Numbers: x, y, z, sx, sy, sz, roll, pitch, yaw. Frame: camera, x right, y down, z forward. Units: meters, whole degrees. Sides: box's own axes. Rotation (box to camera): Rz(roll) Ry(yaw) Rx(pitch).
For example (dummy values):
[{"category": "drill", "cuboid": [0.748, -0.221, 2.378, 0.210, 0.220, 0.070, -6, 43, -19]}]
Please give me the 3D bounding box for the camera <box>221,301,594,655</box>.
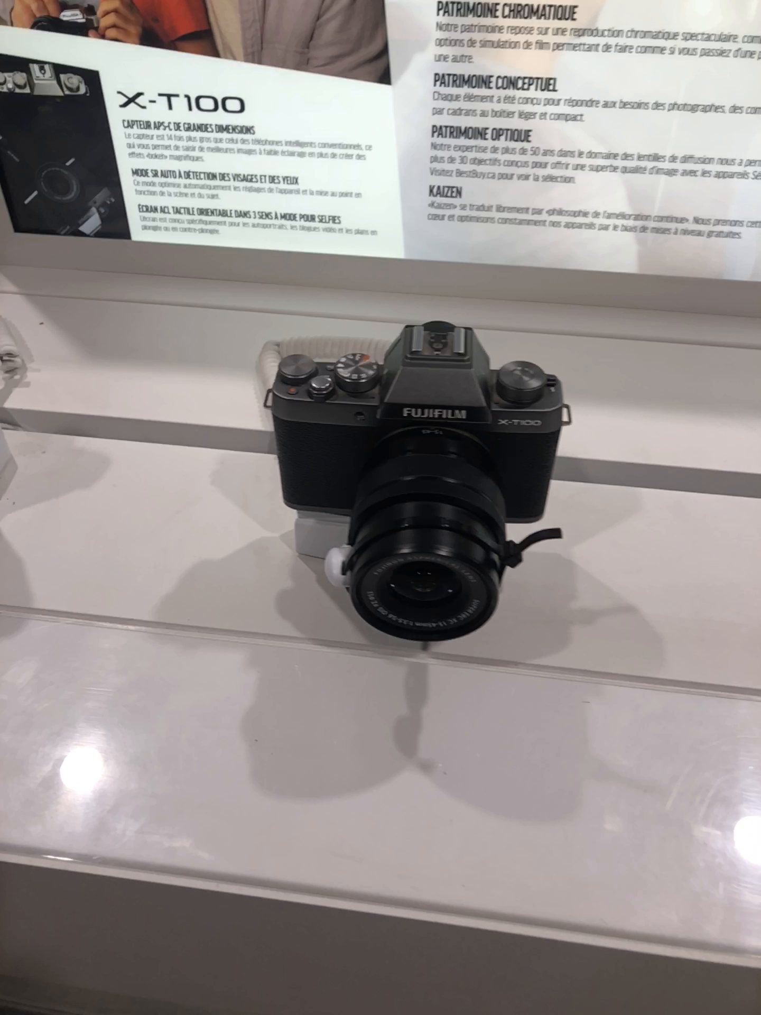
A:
[{"category": "camera", "cuboid": [0.014, -0.016, 0.365, 0.130, 0.099, 0.108, 4, 41, 5]}]
